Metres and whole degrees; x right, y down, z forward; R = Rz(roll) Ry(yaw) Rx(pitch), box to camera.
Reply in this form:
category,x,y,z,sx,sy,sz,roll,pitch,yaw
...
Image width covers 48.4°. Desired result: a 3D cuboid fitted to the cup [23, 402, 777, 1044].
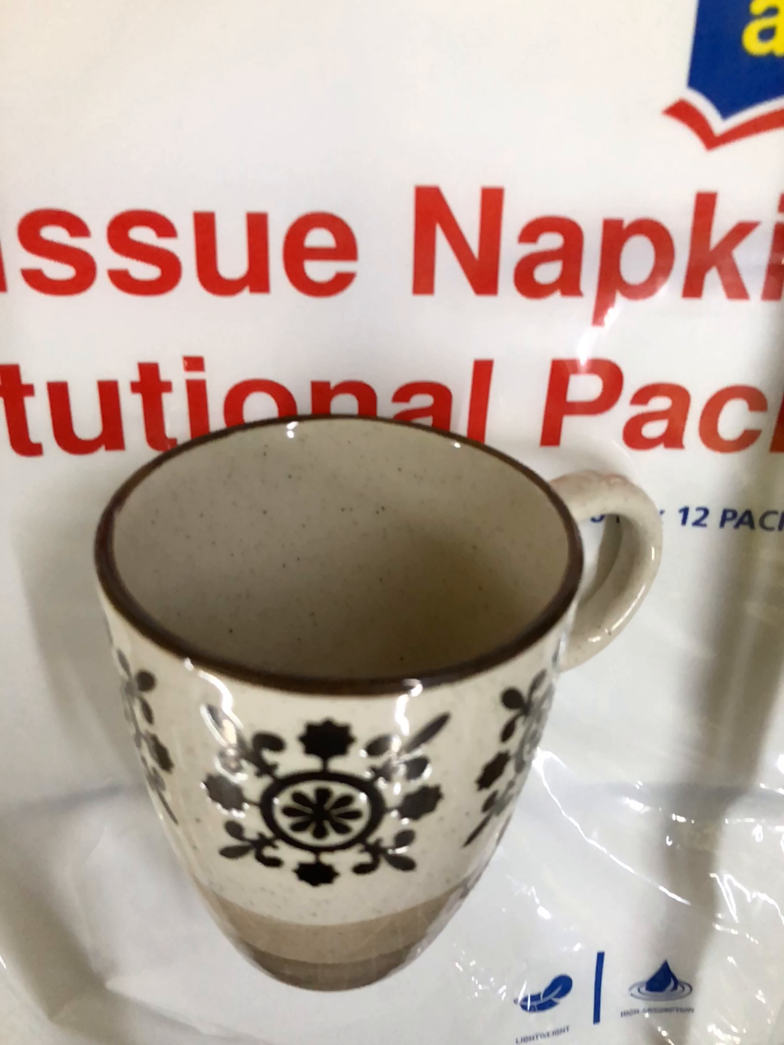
category,x,y,z,sx,sy,sz,roll,pitch,yaw
cup,-0.003,0.048,0.169,0.100,0.070,0.110,-15,126,-29
